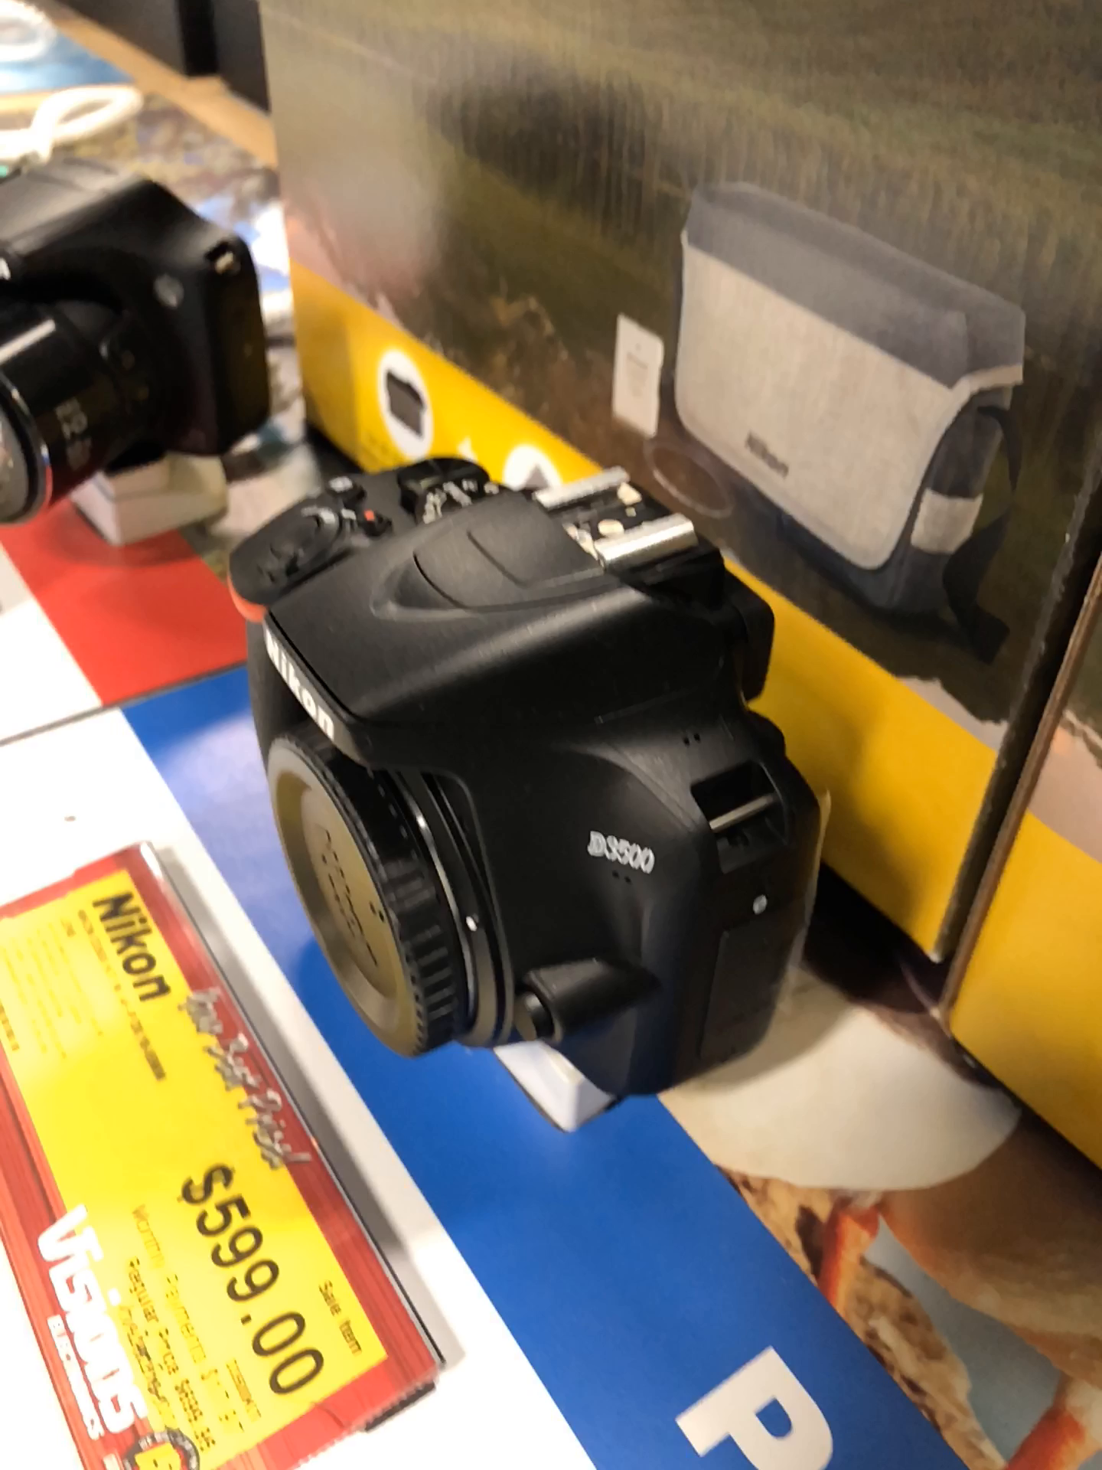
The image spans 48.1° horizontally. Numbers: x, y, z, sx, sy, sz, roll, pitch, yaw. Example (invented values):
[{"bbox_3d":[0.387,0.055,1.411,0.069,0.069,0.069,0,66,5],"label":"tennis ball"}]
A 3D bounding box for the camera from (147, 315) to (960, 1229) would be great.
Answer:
[{"bbox_3d":[-0.009,-0.002,0.231,0.080,0.099,0.121,-20,45,-25],"label":"camera"}]
